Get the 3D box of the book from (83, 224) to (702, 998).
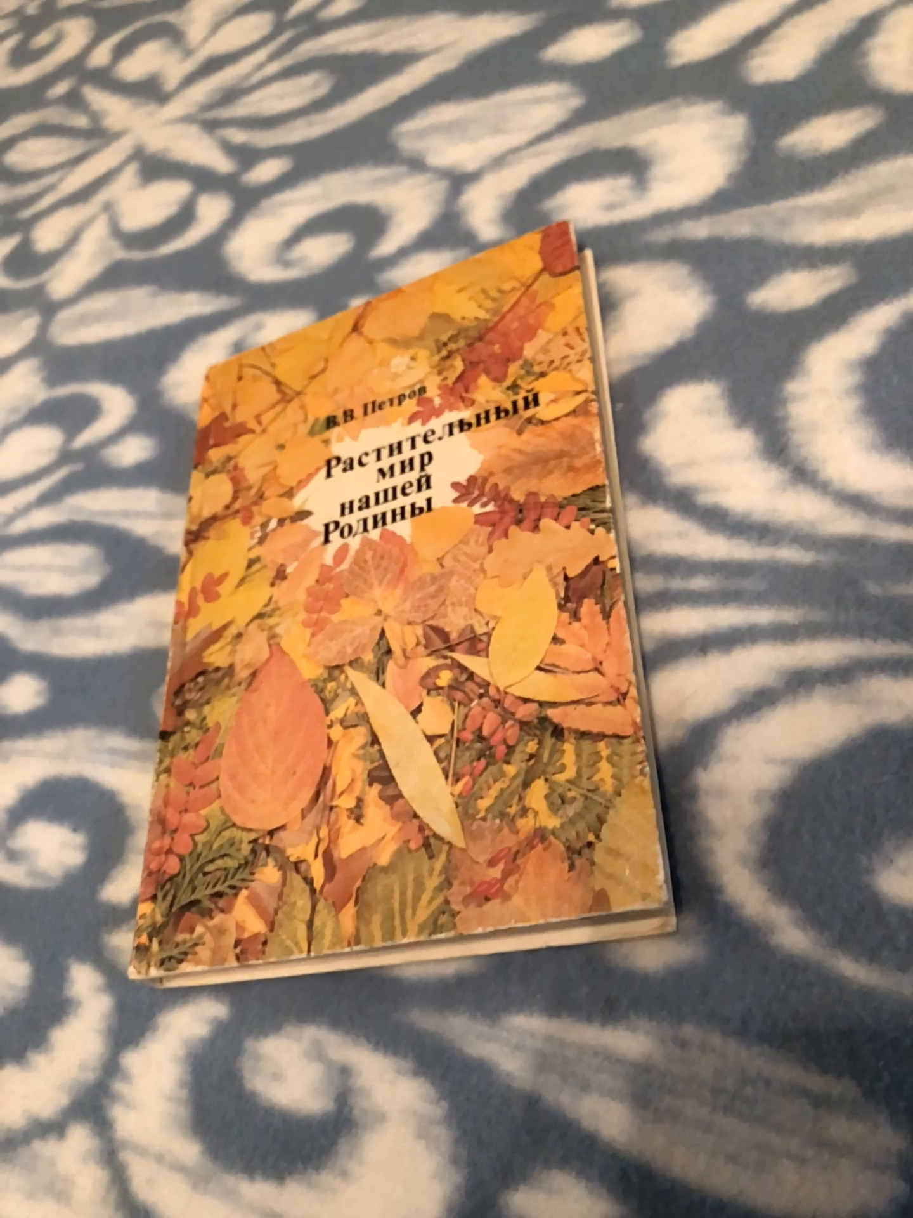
[{"bbox_3d":[-0.025,-0.006,0.297,0.157,0.020,0.208,-14,58,20],"label":"book"}]
